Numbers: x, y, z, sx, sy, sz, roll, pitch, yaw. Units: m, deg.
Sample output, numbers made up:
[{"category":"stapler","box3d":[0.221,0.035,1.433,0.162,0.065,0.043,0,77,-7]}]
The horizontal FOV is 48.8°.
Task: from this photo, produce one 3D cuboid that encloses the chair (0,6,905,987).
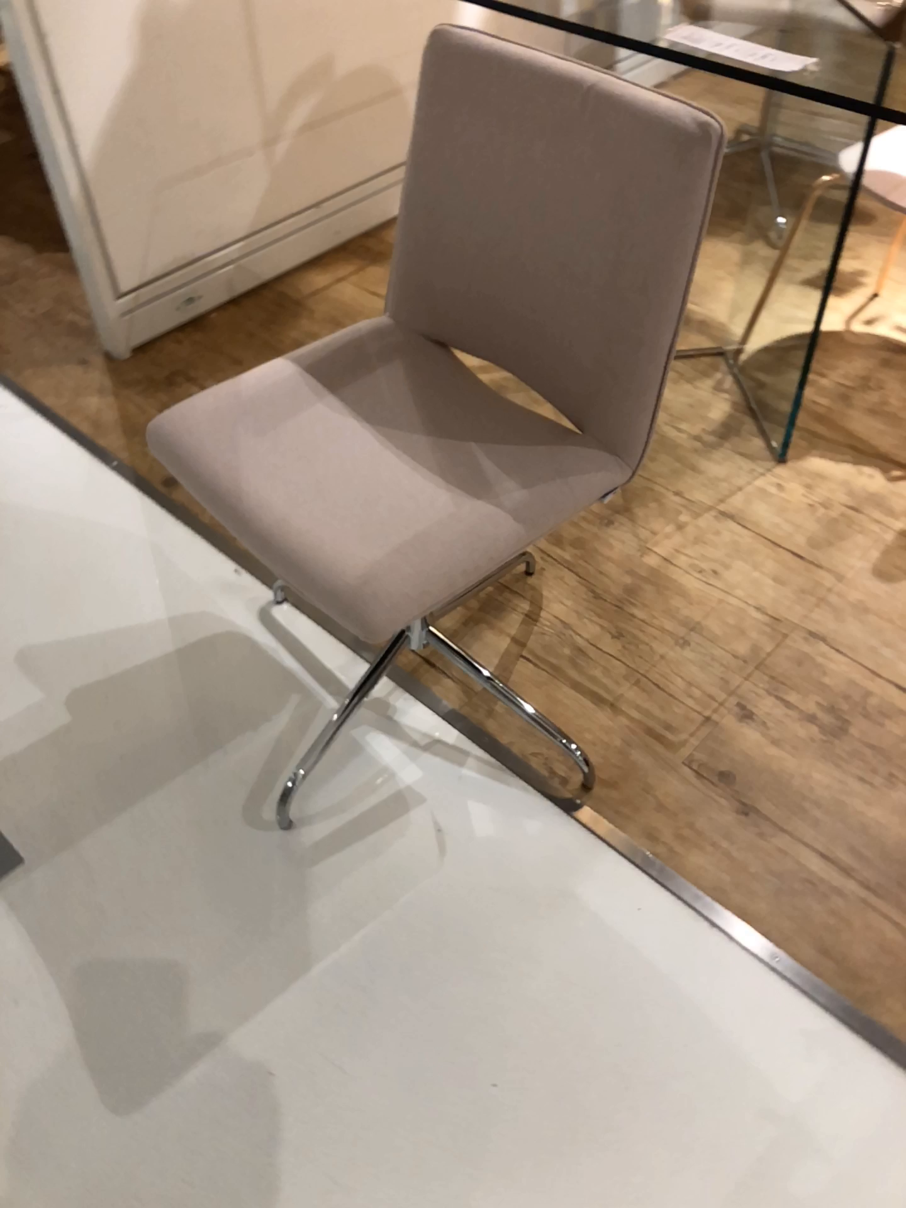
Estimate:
[{"category":"chair","box3d":[-0.029,-0.150,1.183,0.632,0.745,0.653,-35,55,-27]}]
